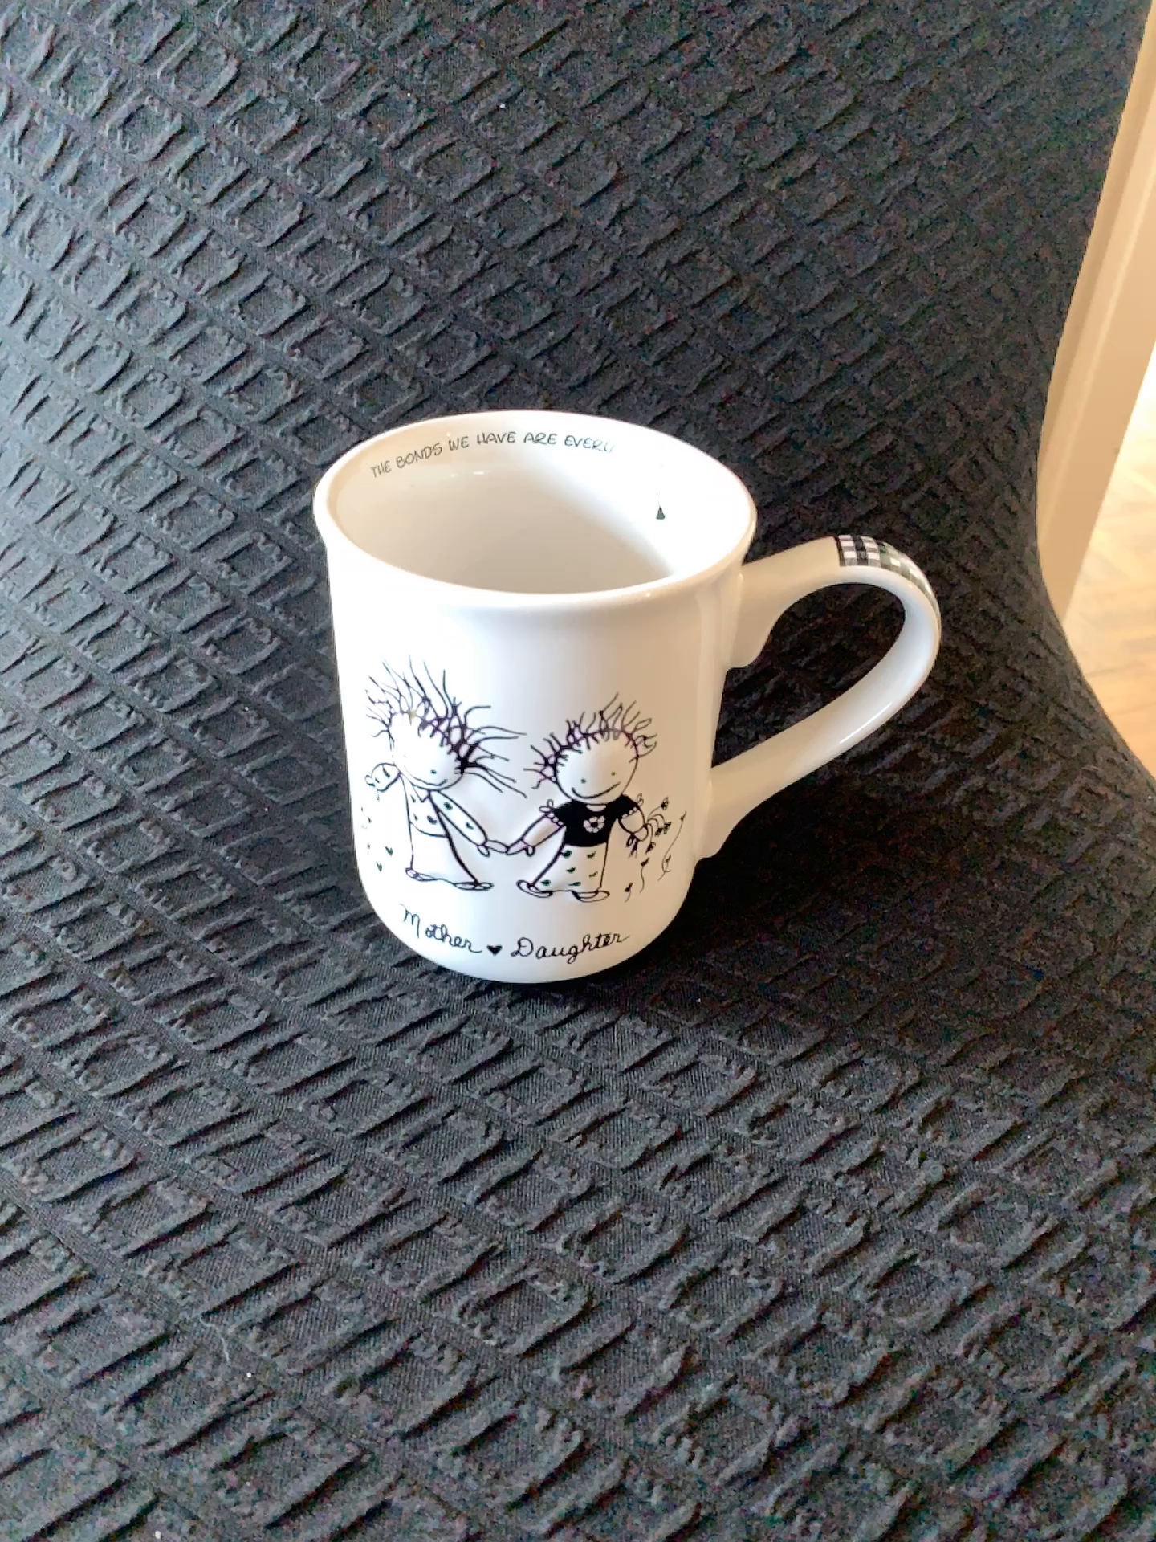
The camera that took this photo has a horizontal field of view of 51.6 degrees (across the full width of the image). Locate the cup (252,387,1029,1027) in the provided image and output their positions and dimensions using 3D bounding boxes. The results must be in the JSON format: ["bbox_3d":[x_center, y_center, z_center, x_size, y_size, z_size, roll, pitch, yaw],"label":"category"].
[{"bbox_3d":[0.011,-0.017,0.288,0.140,0.109,0.101,3,39,0],"label":"cup"}]
